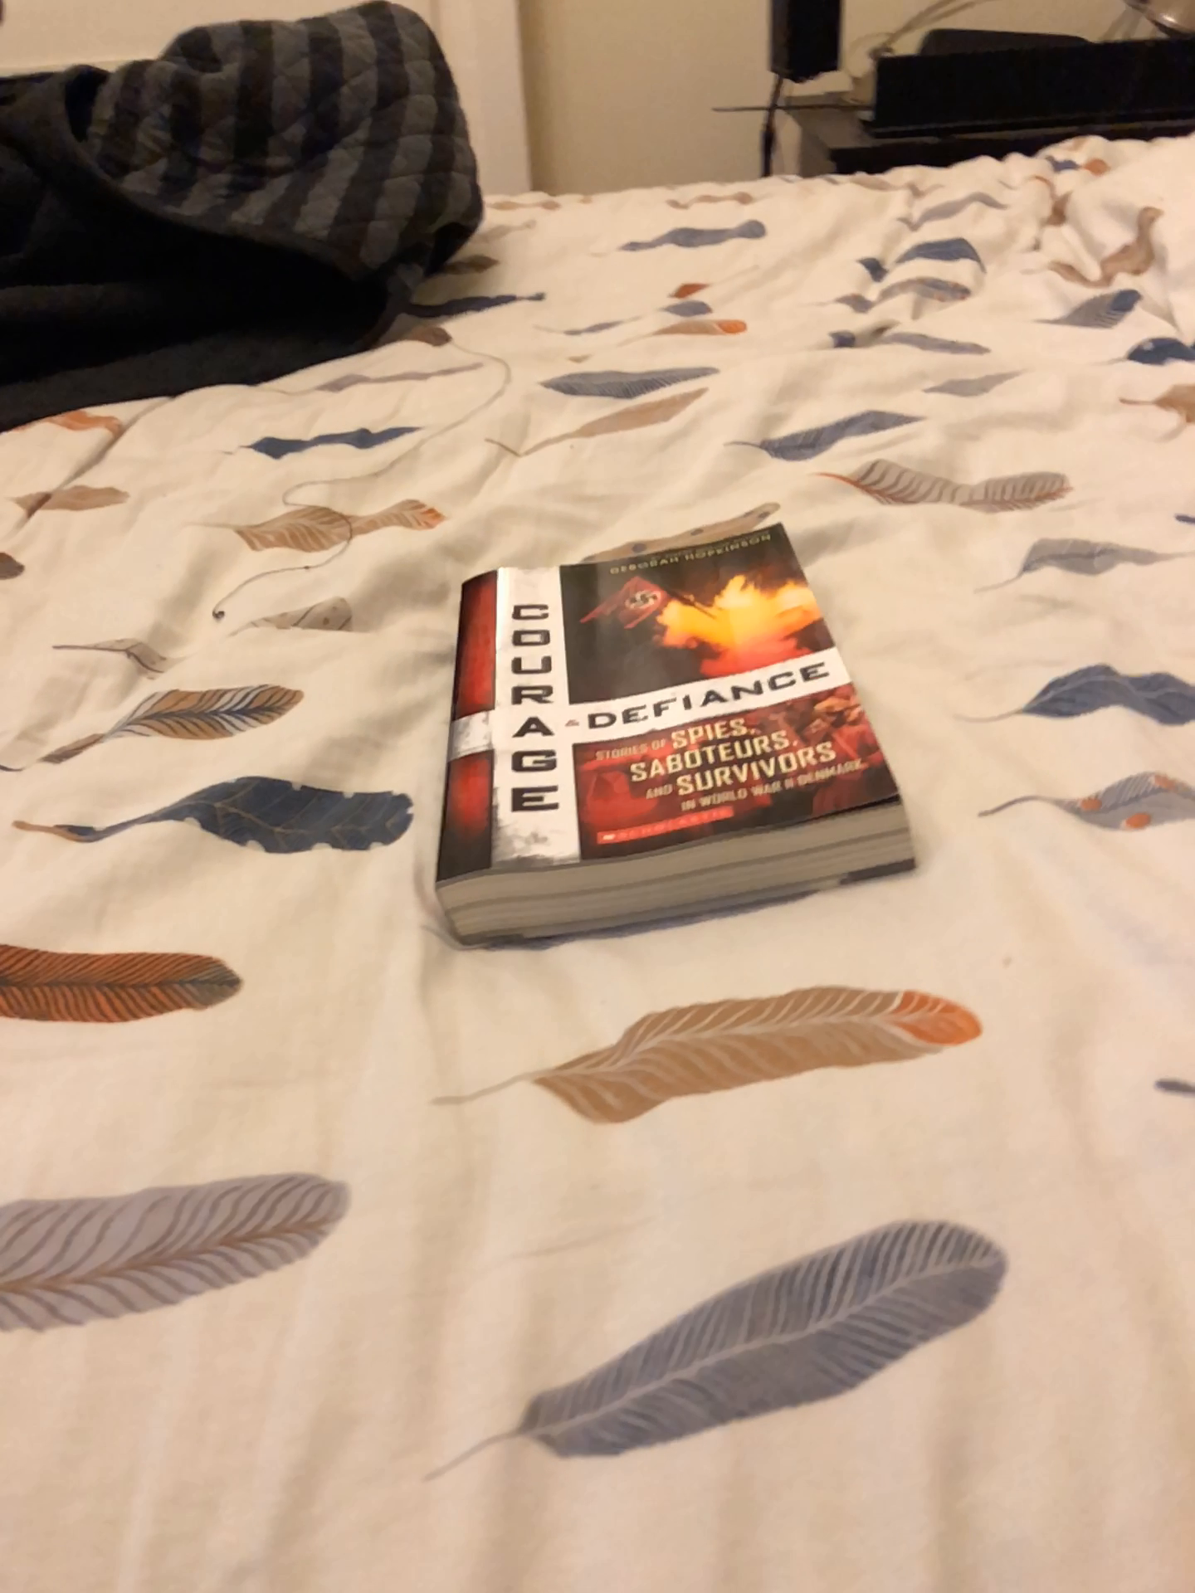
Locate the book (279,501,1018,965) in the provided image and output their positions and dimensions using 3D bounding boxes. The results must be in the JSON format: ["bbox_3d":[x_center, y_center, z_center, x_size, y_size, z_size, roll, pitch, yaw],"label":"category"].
[{"bbox_3d":[0.005,-0.038,0.453,0.200,0.020,0.231,-5,36,-3],"label":"book"}]
